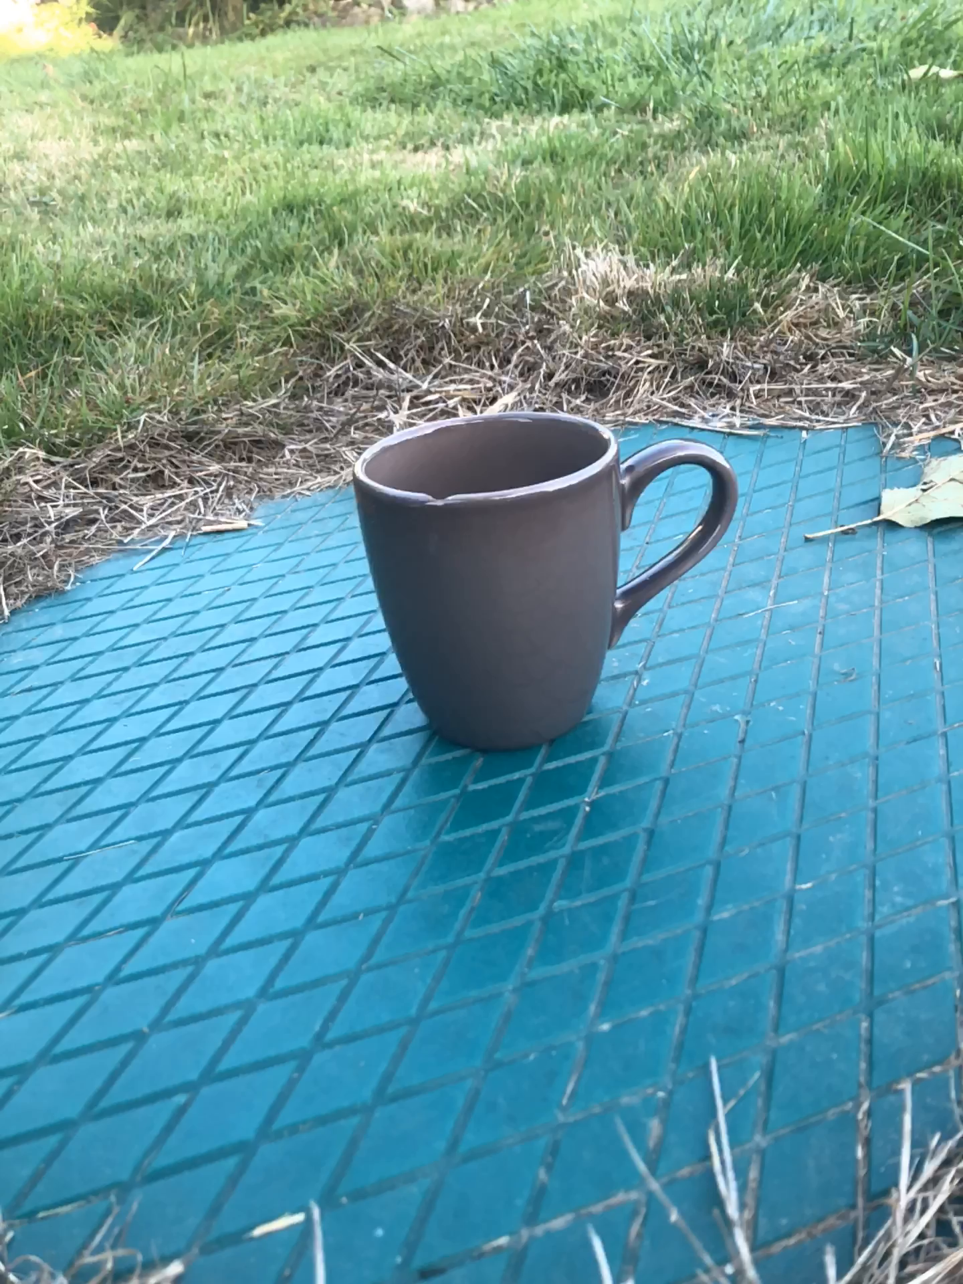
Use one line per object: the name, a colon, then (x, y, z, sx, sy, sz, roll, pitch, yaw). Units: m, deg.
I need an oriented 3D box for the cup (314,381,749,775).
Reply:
cup: (0.015, -0.027, 0.366, 0.126, 0.086, 0.091, -11, 28, -6)
